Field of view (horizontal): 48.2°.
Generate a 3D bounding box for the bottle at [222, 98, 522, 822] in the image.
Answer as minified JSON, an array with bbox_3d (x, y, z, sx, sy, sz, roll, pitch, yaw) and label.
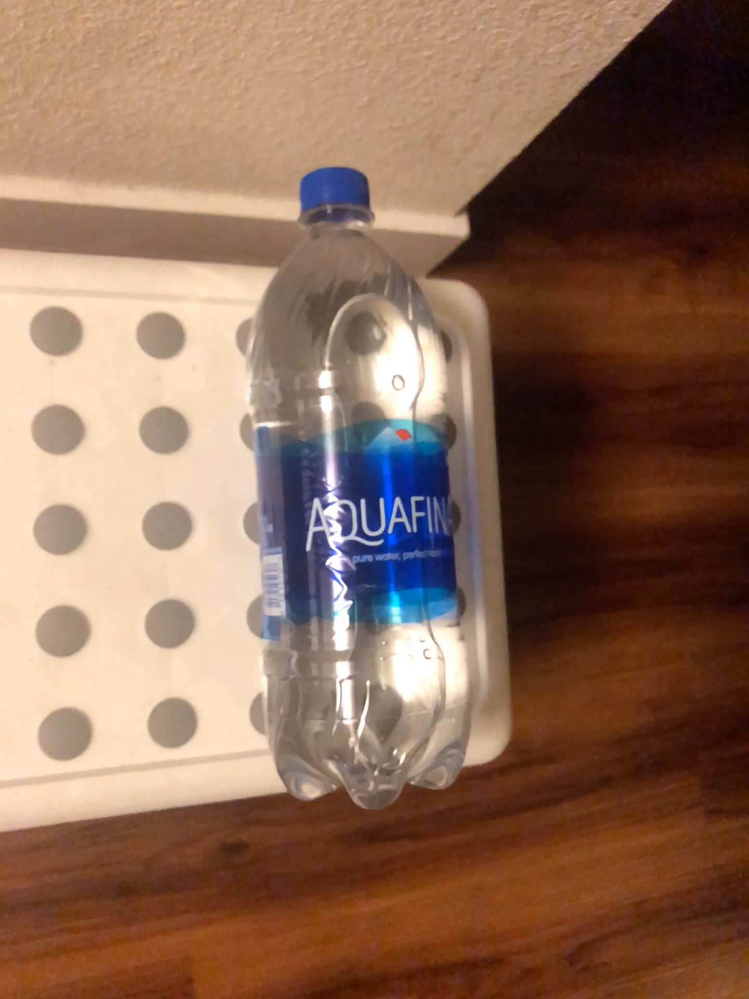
[{"bbox_3d":[-0.007,-0.015,0.338,0.090,0.080,0.250,0,84,-19],"label":"bottle"}]
